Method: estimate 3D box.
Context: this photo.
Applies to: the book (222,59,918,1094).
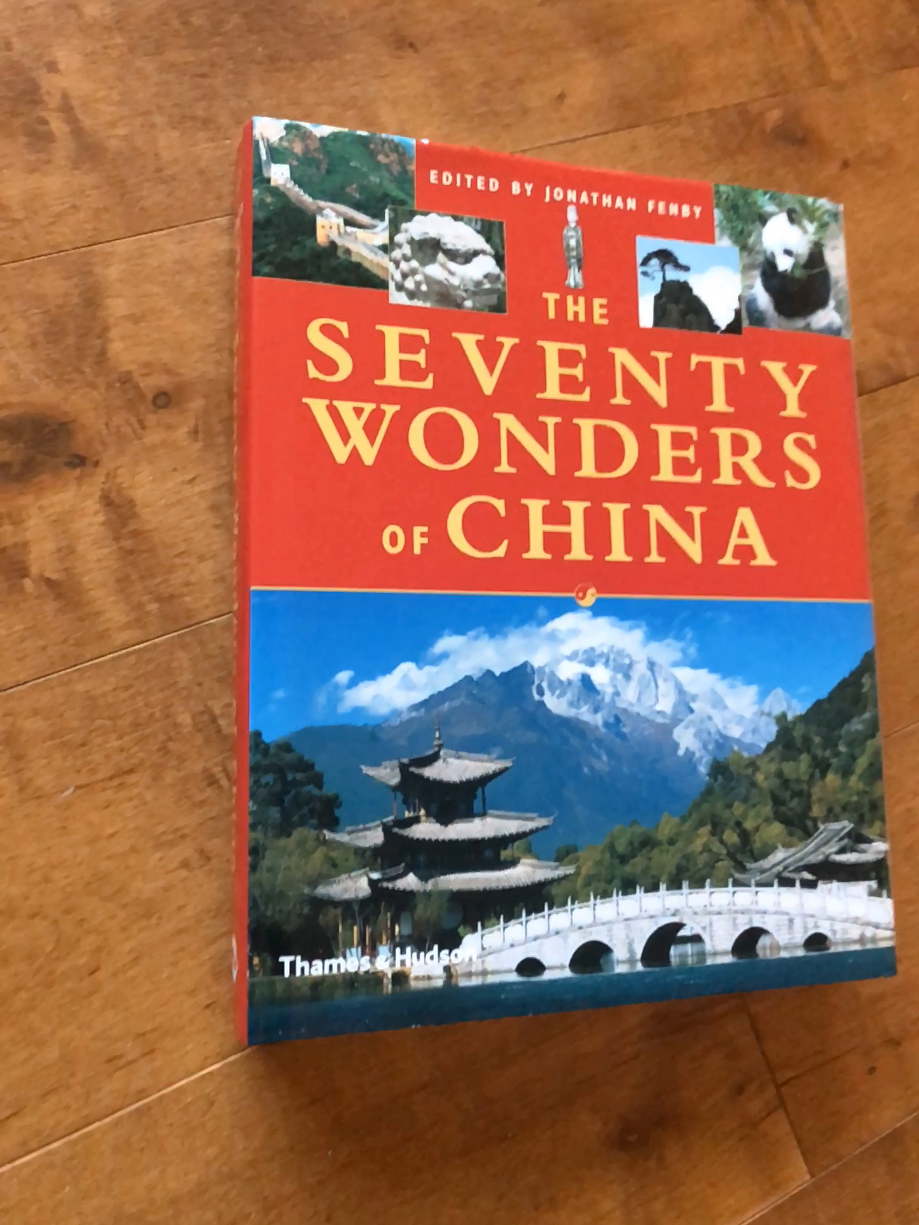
[{"bbox_3d":[0.036,-0.016,0.335,0.220,0.050,0.290,0,82,-16],"label":"book"}]
